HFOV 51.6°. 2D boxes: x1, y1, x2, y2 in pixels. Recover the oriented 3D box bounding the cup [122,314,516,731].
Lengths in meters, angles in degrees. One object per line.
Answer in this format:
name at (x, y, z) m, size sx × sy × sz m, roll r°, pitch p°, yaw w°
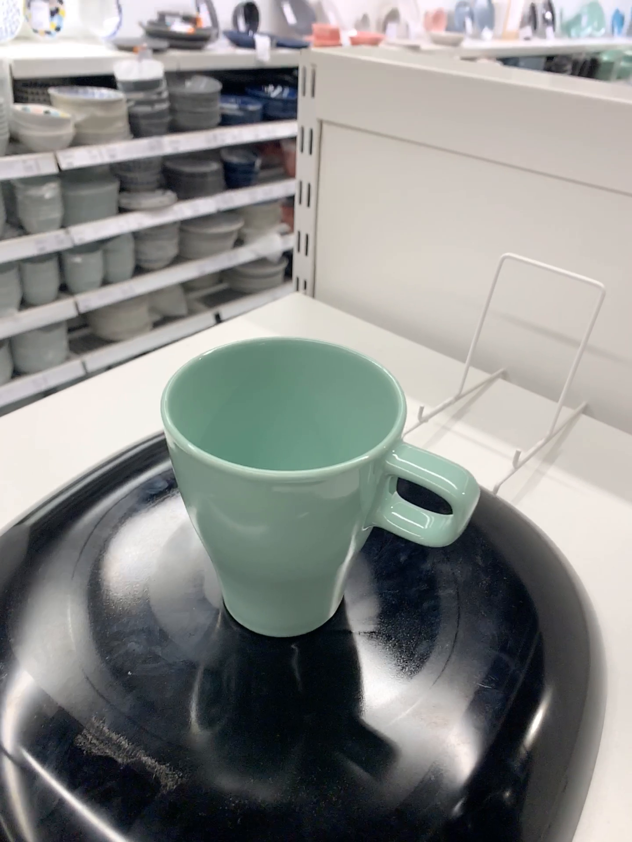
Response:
cup at (0.003, 0.032, 0.246) m, size 0.110 × 0.100 × 0.080 m, roll 16°, pitch 35°, yaw 16°
